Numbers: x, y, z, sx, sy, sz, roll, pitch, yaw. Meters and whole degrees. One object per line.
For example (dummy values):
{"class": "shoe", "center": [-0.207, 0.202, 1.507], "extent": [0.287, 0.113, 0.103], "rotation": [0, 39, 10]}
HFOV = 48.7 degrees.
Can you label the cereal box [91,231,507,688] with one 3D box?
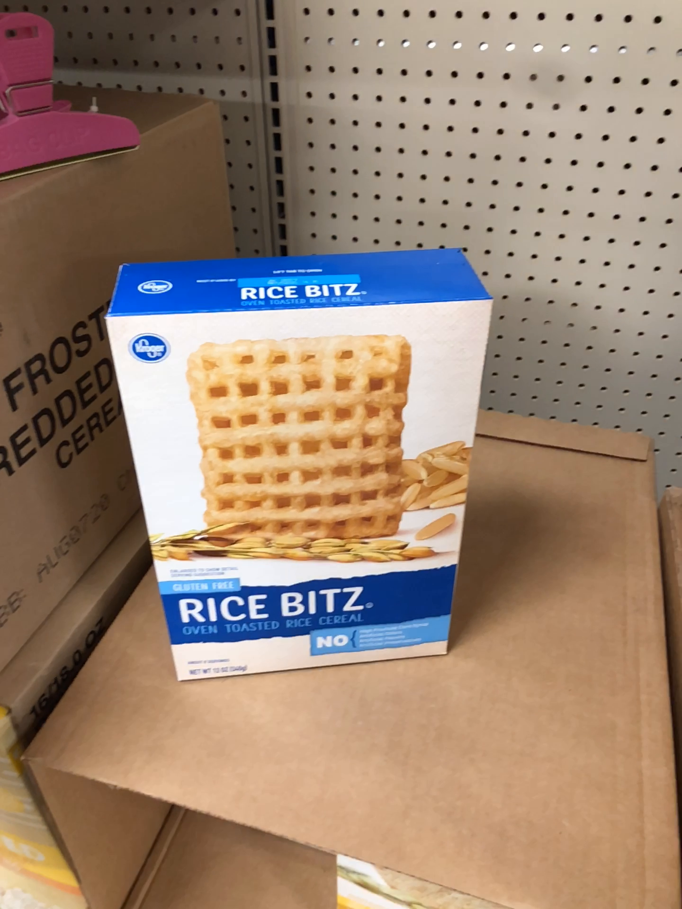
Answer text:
{"class": "cereal box", "center": [-0.020, 0.018, 0.476], "extent": [0.200, 0.289, 0.070], "rotation": [-4, 36, -5]}
